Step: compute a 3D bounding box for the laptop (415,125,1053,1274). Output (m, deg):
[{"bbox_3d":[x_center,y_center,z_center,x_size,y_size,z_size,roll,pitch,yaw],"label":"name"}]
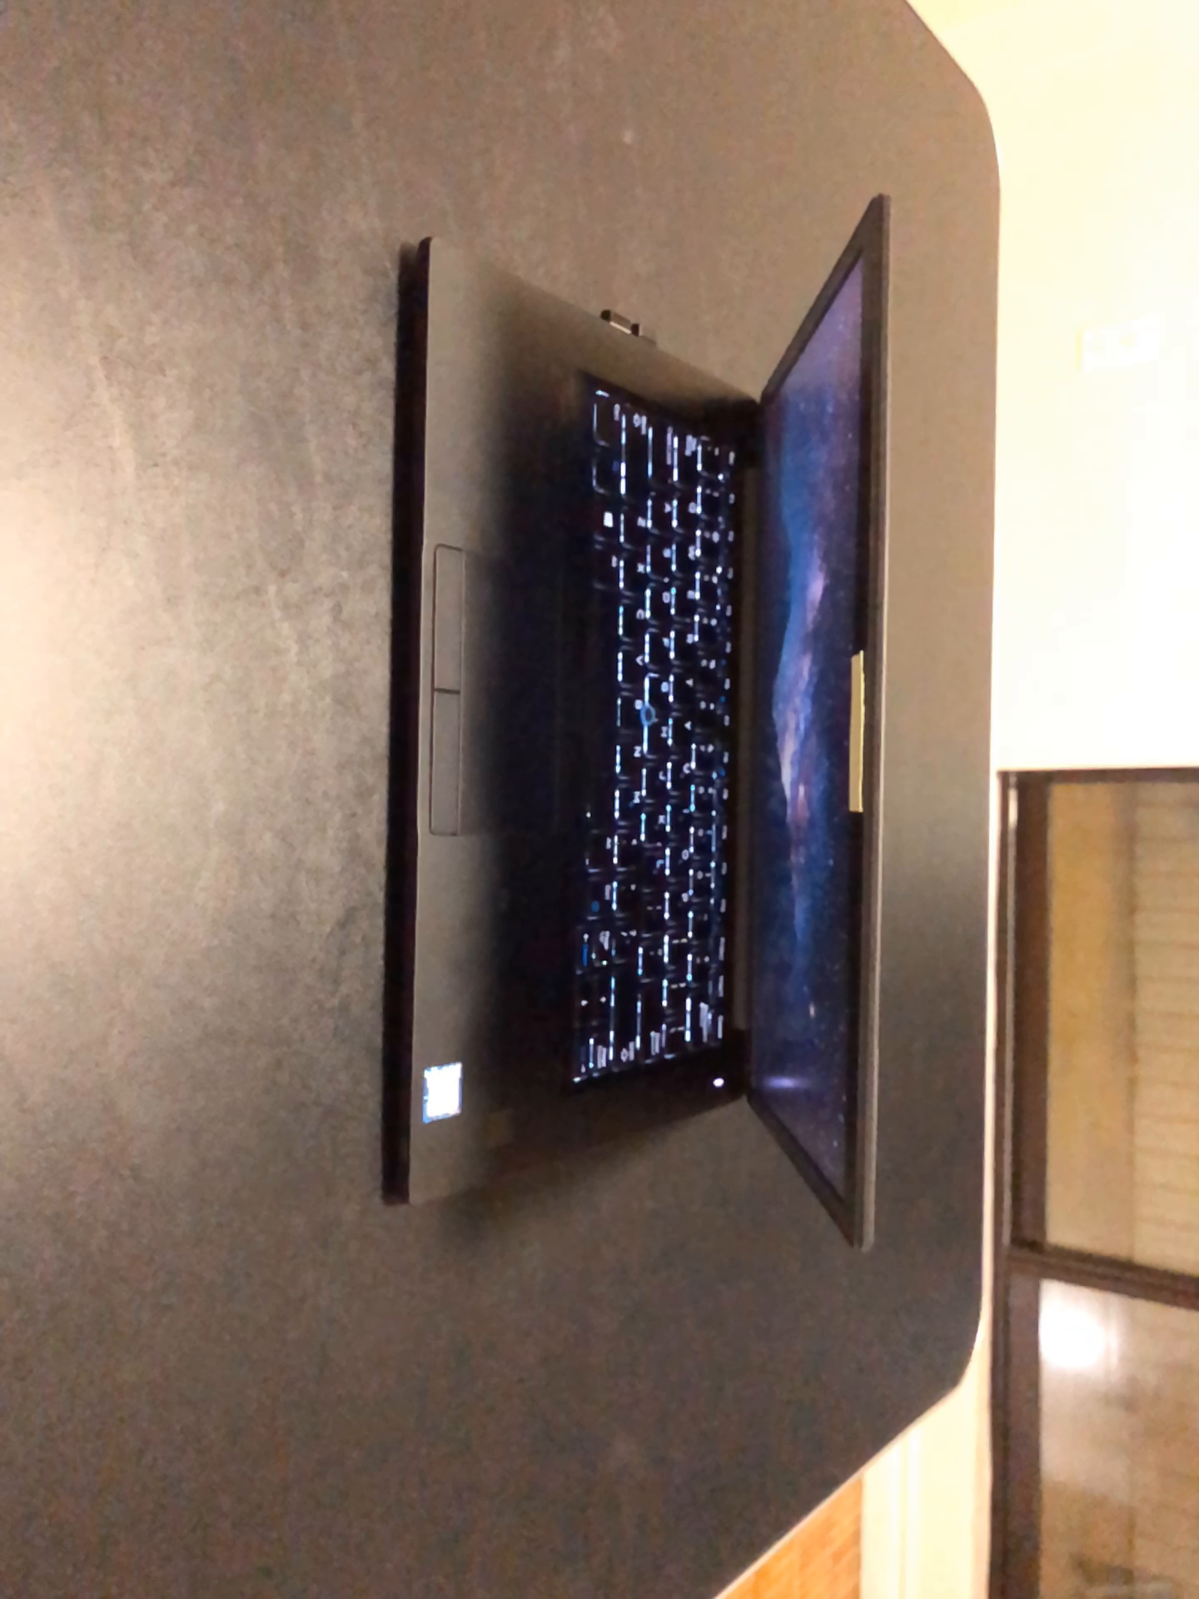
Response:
[{"bbox_3d":[0.063,-0.030,0.498,0.221,0.142,0.318,2,88,-54],"label":"laptop"}]
